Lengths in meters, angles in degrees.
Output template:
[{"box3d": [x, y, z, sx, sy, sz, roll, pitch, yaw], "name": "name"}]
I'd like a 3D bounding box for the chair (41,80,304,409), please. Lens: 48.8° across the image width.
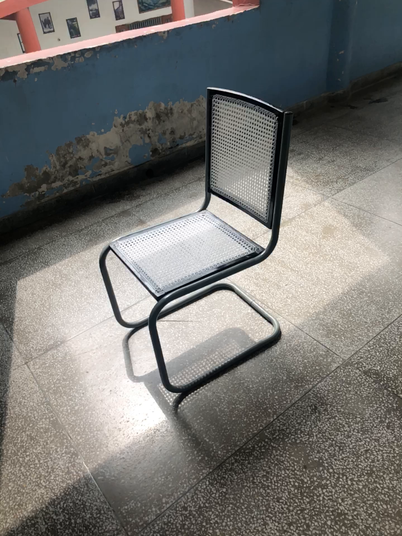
[{"box3d": [-0.059, -0.093, 1.478, 0.570, 0.817, 0.492, -25, 40, -23], "name": "chair"}]
